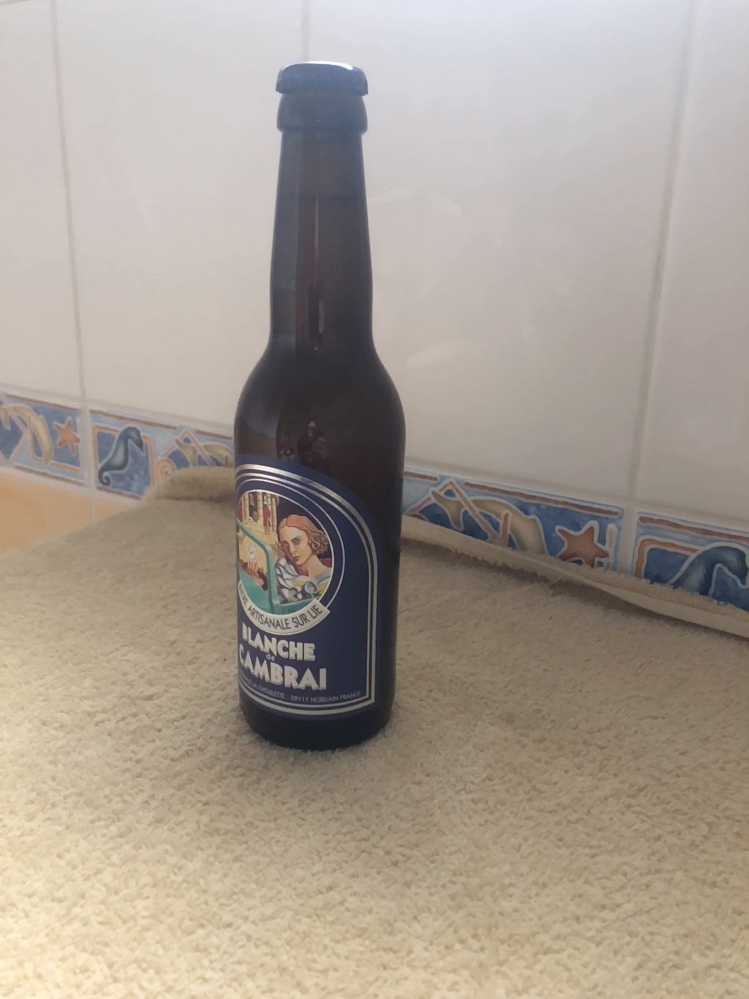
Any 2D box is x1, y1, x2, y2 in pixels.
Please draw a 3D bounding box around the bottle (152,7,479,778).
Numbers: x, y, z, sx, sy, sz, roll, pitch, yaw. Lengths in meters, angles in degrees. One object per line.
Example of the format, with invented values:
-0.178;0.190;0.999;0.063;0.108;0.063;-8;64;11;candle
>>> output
-0.018;-0.030;0.279;0.070;0.219;0.070;1;17;0;bottle
